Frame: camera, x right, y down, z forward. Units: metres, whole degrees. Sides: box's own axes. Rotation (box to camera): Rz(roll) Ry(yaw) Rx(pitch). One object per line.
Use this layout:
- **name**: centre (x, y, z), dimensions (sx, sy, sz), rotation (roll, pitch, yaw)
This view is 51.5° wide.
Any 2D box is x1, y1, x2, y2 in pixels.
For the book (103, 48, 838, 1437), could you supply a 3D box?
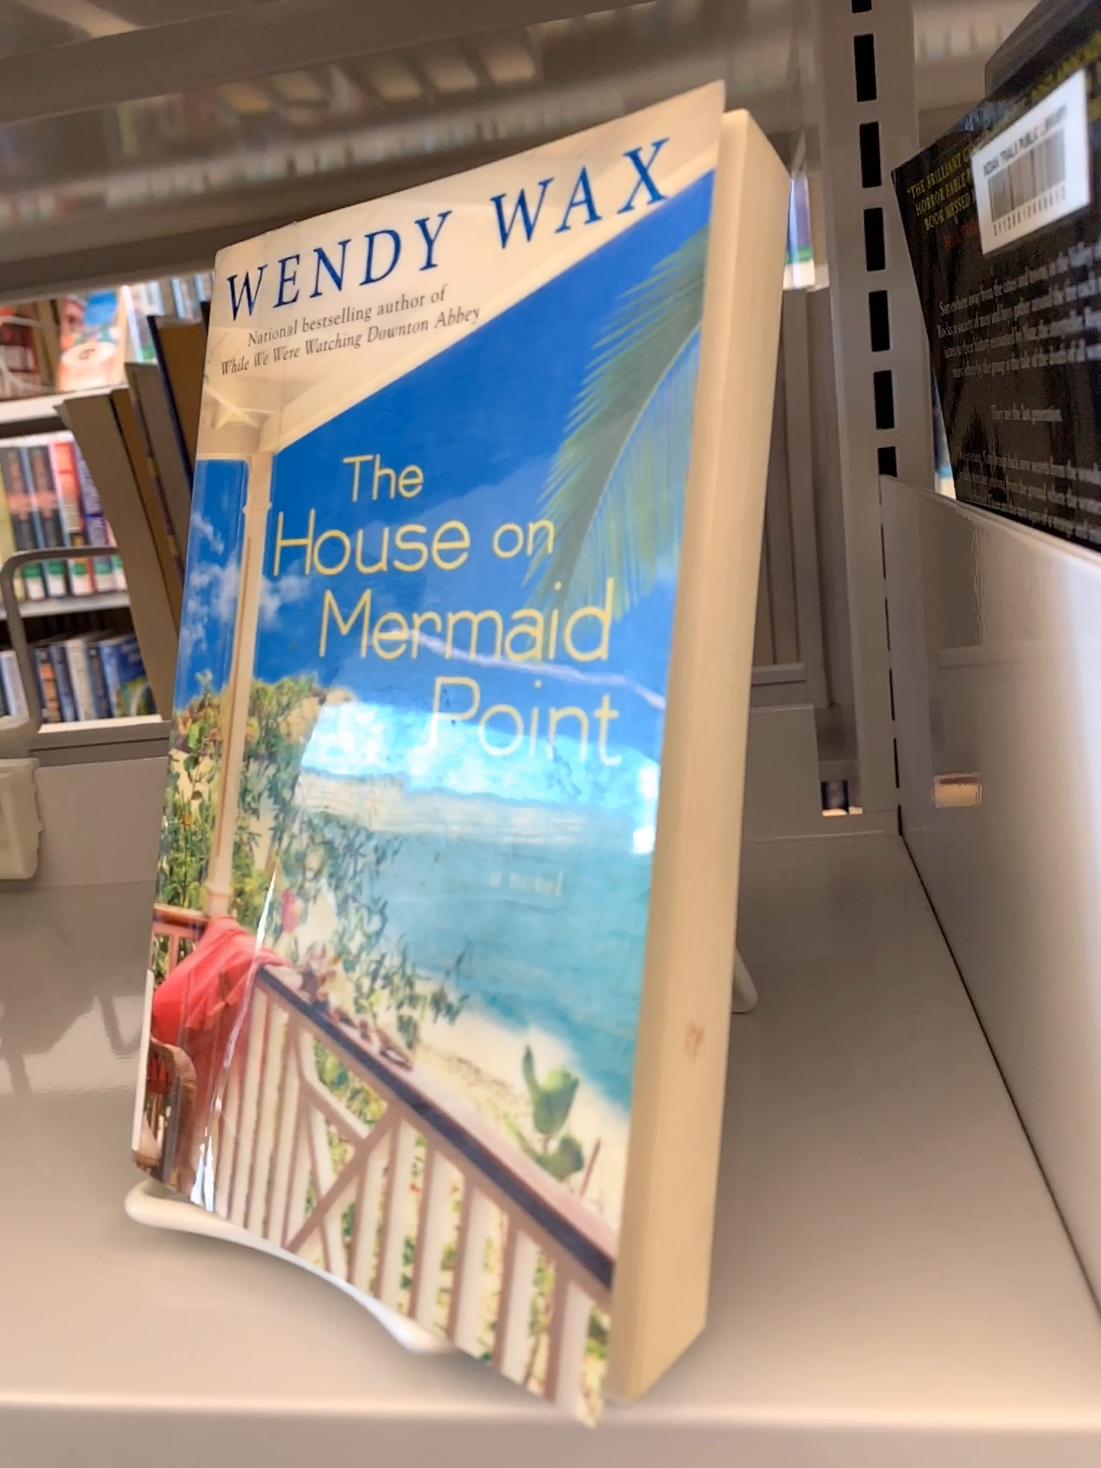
- **book**: centre (-0.023, -0.003, 0.216), dimensions (0.131, 0.193, 0.043), rotation (3, -2, 40)
